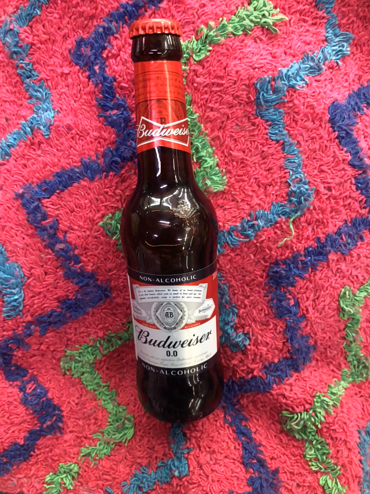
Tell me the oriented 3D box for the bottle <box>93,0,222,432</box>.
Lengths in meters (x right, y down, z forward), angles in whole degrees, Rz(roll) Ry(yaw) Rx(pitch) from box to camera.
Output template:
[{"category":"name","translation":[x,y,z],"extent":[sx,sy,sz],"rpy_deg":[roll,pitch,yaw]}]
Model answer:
[{"category":"bottle","translation":[-0.010,-0.009,0.260],"extent":[0.060,0.050,0.250],"rpy_deg":[-1,103,5]}]
